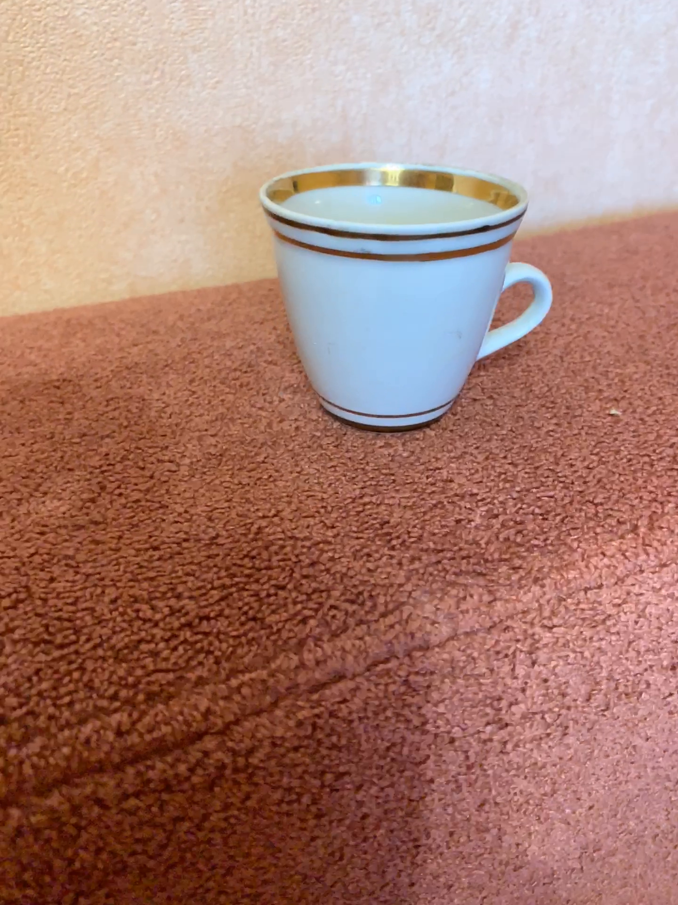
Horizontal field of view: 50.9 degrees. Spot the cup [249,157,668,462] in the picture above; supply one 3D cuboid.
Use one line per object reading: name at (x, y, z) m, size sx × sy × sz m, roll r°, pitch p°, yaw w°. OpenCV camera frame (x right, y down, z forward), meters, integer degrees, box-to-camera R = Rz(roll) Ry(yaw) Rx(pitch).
cup at (0.022, -0.038, 0.173) m, size 0.078 × 0.048 × 0.055 m, roll -7°, pitch 35°, yaw -11°
